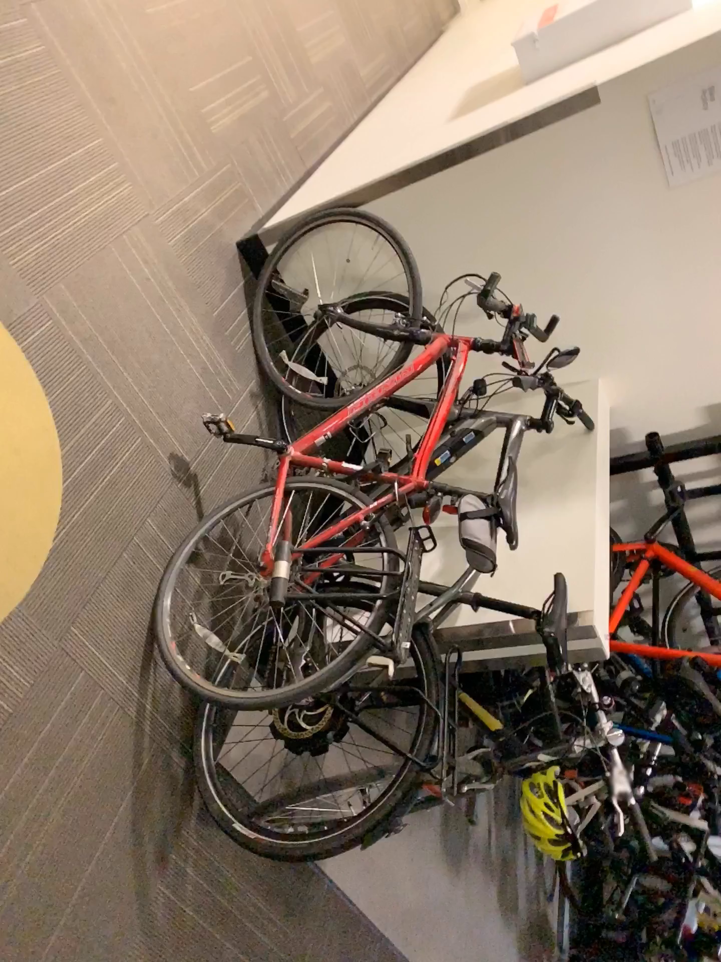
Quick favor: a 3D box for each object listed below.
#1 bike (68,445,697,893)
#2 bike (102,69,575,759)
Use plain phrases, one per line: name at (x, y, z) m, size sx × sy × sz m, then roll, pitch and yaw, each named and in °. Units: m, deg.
bike at (0.094, 0.561, 1.845) m, size 0.695 × 1.149 × 0.727 m, roll 44°, pitch 48°, yaw -46°
bike at (0.048, -0.158, 2.091) m, size 0.606 × 0.927 × 1.612 m, roll 42°, pitch 48°, yaw -47°
